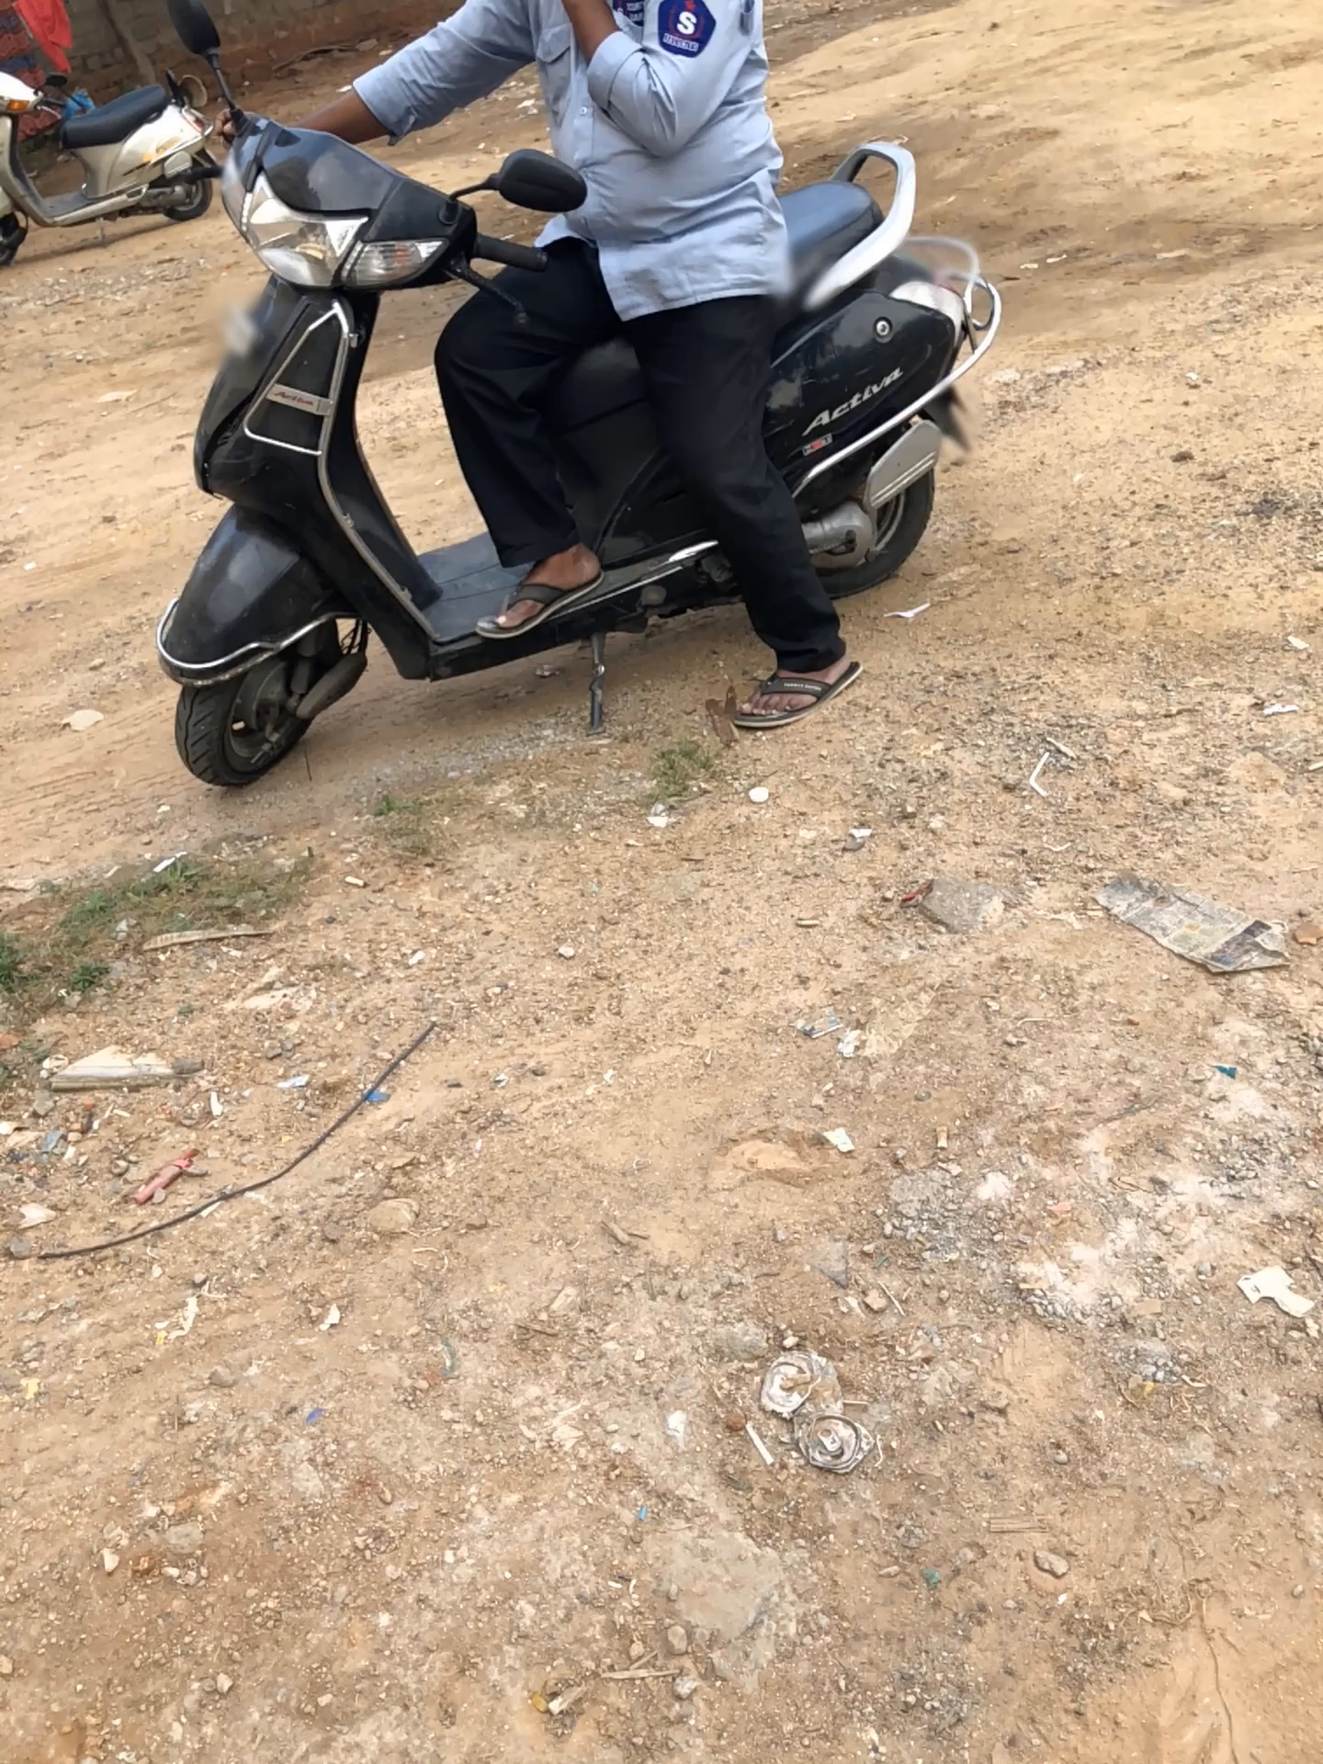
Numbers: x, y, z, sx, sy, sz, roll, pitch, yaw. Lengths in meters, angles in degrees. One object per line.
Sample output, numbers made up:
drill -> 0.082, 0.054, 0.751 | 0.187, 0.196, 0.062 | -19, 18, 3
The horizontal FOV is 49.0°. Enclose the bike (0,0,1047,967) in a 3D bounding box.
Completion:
bike -> -0.210, -0.730, 2.468 | 1.524, 1.102, 0.577 | -22, 35, -8
